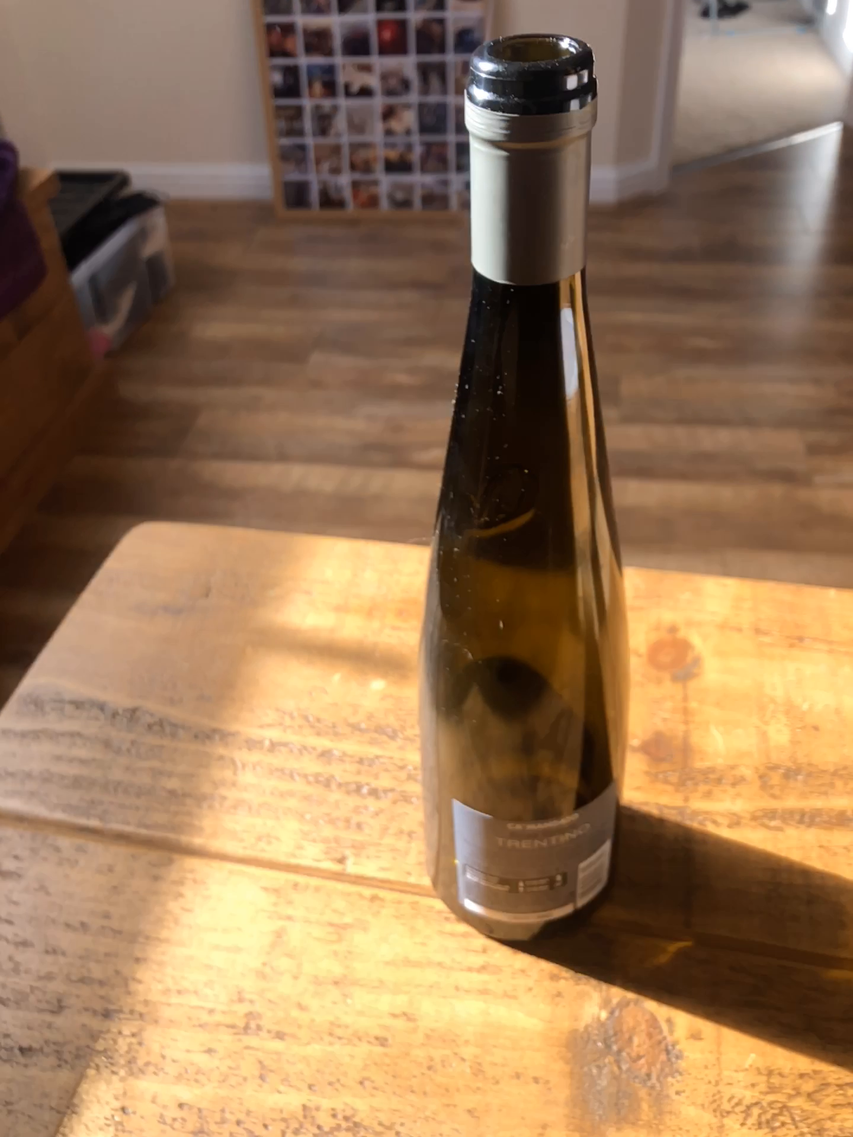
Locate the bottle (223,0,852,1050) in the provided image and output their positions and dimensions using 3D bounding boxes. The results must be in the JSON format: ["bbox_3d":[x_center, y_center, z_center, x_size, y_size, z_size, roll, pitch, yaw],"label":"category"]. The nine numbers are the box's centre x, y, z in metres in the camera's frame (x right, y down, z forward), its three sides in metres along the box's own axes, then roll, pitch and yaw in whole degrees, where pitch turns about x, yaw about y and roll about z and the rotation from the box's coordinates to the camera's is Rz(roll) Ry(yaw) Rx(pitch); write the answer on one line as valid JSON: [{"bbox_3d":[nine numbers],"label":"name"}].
[{"bbox_3d":[0.024,0.019,0.304,0.100,0.337,0.101,-2,42,2],"label":"bottle"}]
